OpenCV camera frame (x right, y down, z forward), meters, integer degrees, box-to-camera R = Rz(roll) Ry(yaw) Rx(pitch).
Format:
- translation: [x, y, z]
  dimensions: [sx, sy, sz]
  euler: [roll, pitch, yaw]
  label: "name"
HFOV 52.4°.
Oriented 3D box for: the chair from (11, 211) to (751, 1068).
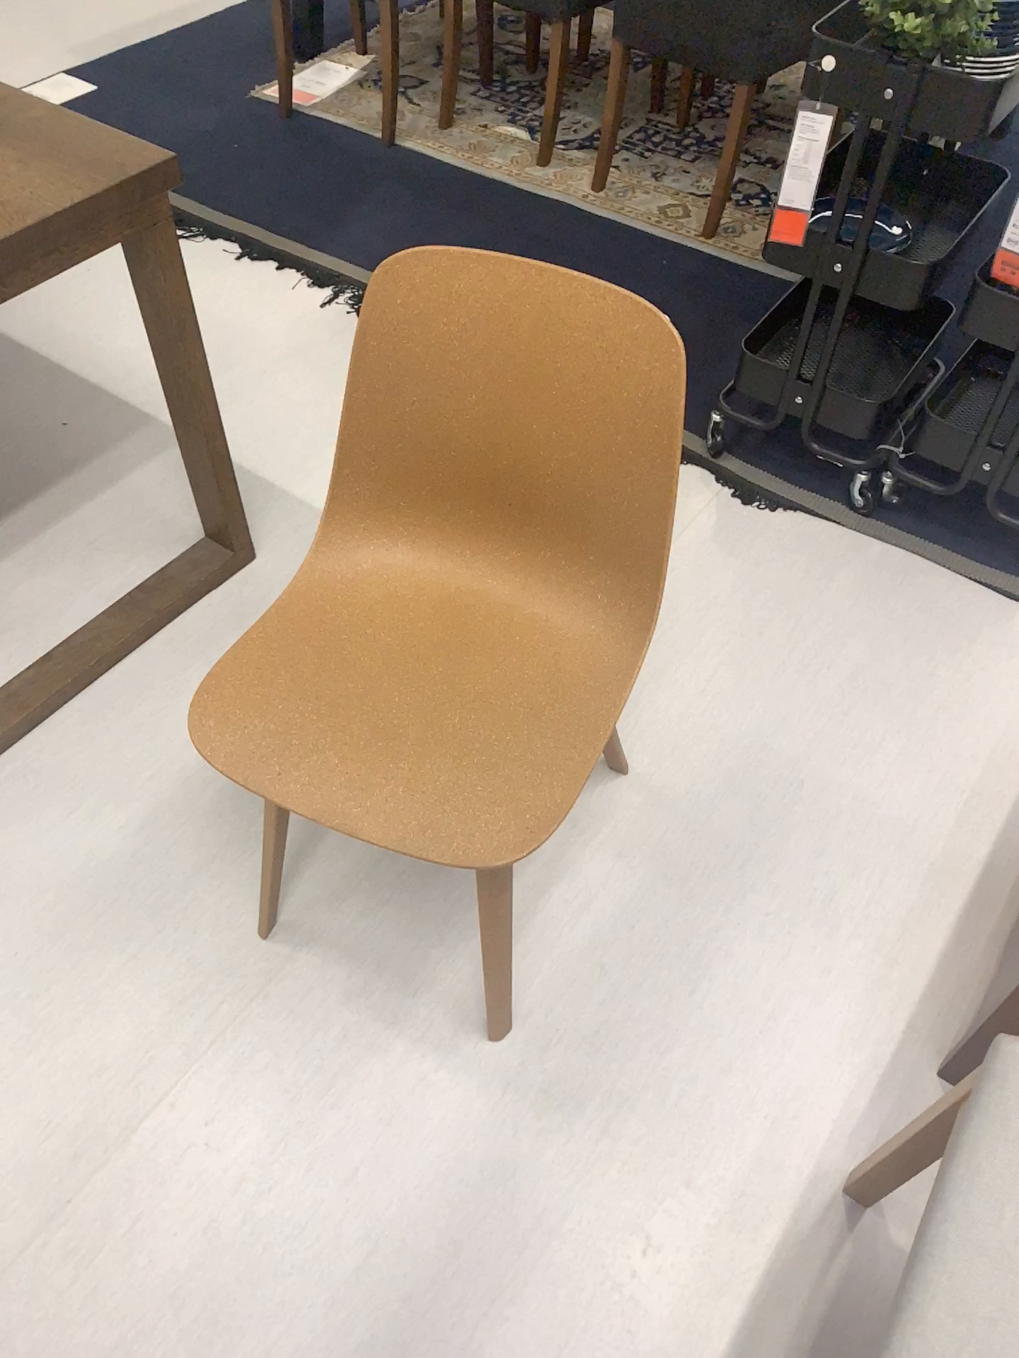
- translation: [-0.082, -0.016, 1.172]
  dimensions: [0.440, 0.718, 0.521]
  euler: [20, 53, 15]
  label: "chair"
